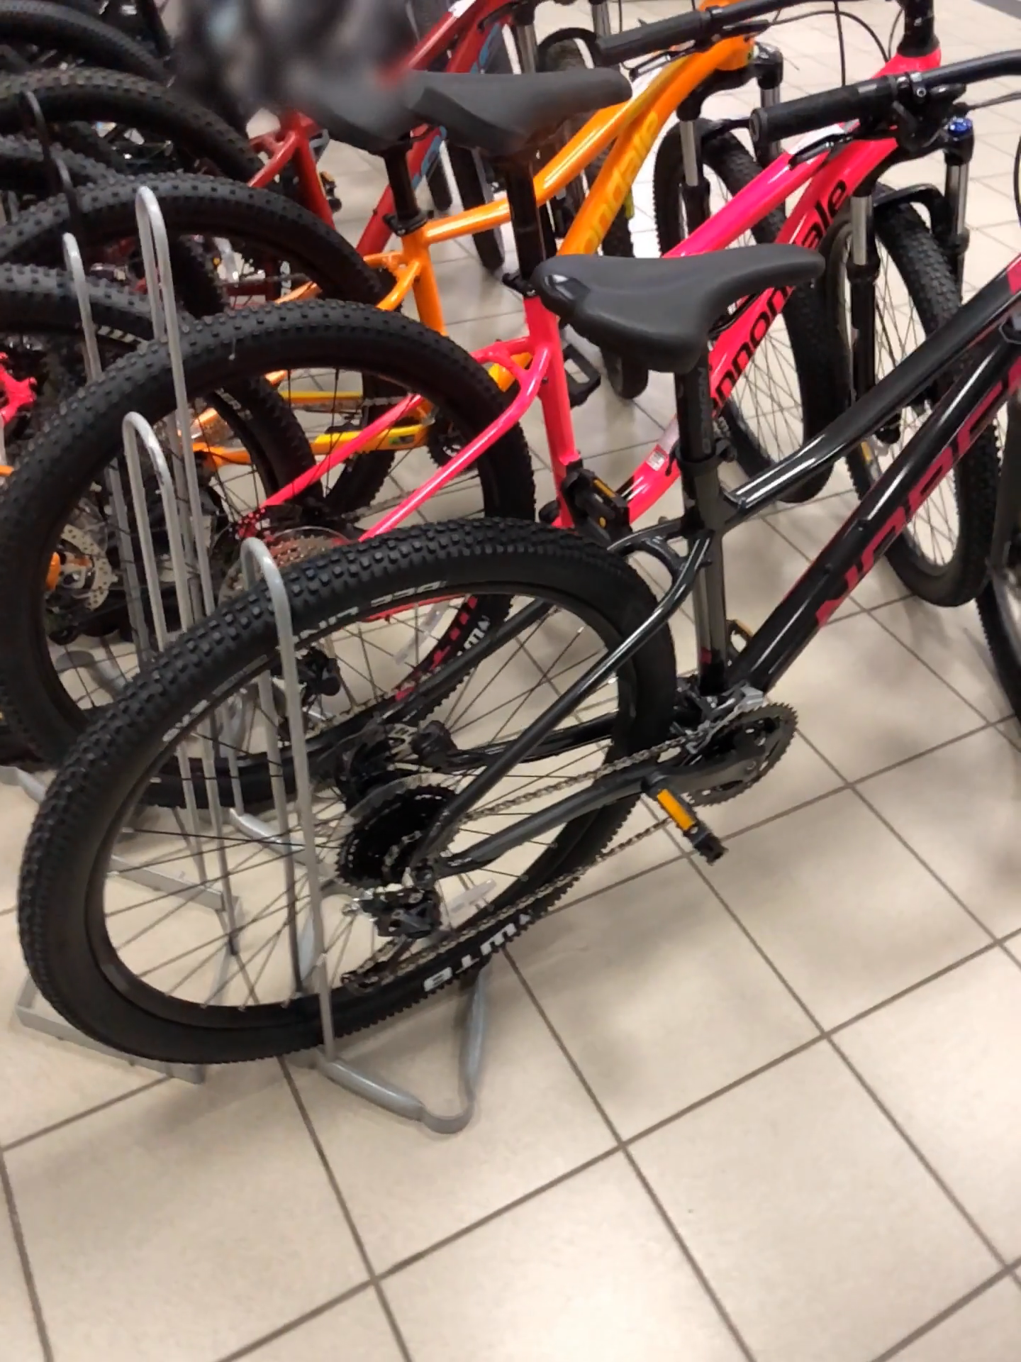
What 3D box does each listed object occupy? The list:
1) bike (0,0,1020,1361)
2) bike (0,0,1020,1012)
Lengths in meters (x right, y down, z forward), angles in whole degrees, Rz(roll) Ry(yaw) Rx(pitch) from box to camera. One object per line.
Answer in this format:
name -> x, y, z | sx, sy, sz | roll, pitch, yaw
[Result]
bike -> 0.148, -0.274, 1.342 | 1.585, 1.101, 0.686 | -27, 53, -33
bike -> -0.021, -0.563, 1.575 | 1.570, 1.074, 0.654 | -29, 53, -31
